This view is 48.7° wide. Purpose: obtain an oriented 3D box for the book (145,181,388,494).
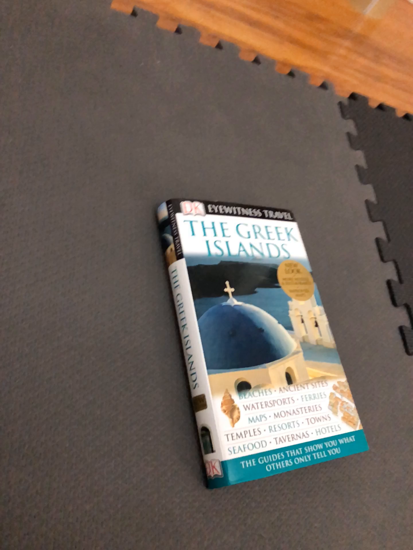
[{"bbox_3d":[0.046,0.036,0.387,0.160,0.030,0.241,0,65,-28],"label":"book"}]
